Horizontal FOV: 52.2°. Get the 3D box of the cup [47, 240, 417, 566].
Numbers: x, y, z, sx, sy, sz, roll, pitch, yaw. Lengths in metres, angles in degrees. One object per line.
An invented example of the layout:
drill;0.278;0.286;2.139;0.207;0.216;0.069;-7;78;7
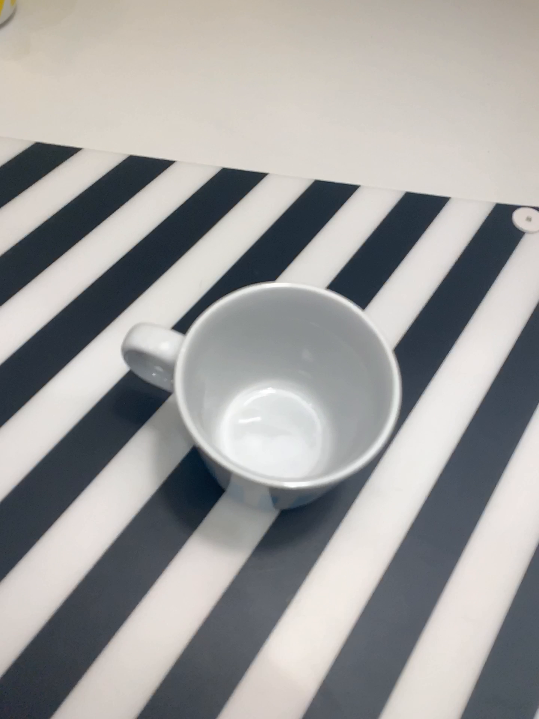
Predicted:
cup;-0.012;0.020;0.227;0.110;0.070;0.080;20;61;5
